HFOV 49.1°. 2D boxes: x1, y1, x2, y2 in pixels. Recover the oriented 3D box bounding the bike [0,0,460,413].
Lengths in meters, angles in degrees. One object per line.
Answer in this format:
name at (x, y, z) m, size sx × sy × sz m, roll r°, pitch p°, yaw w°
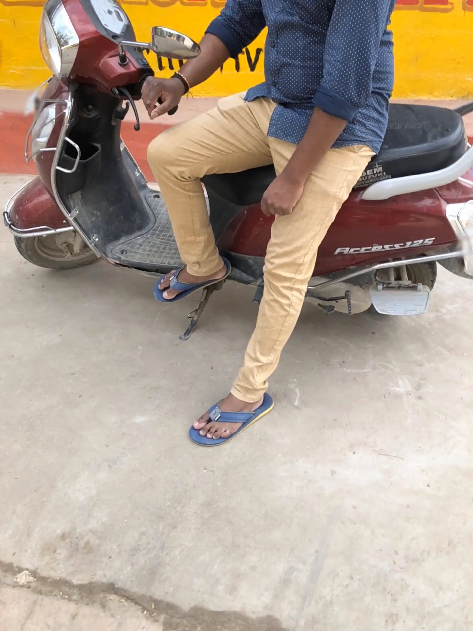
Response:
bike at (-0.219, -0.376, 1.538) m, size 1.376 × 1.087 × 0.632 m, roll 4°, pitch 36°, yaw 5°
